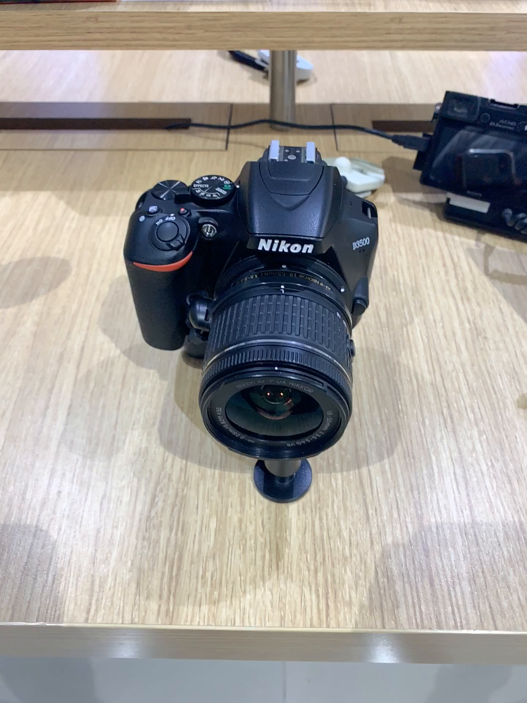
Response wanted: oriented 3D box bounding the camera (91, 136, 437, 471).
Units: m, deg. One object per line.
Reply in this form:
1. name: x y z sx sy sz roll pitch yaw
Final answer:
1. camera: 0.002 -0.021 0.230 0.102 0.091 0.104 2 48 2
